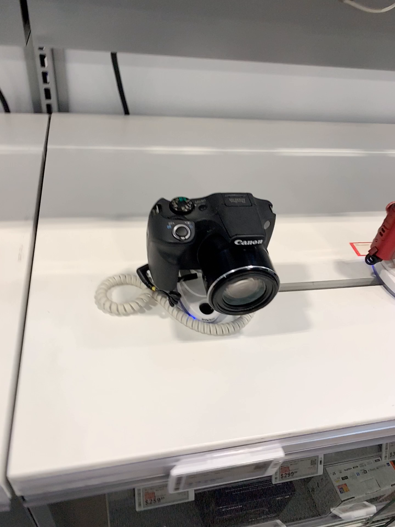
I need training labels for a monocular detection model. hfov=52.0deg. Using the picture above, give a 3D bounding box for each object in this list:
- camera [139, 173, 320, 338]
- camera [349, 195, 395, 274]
[{"bbox_3d":[0.016,-0.011,0.349,0.120,0.089,0.101,-4,44,-14],"label":"camera"},{"bbox_3d":[0.238,-0.032,0.436,0.120,0.070,0.040,-4,44,-13],"label":"camera"}]
